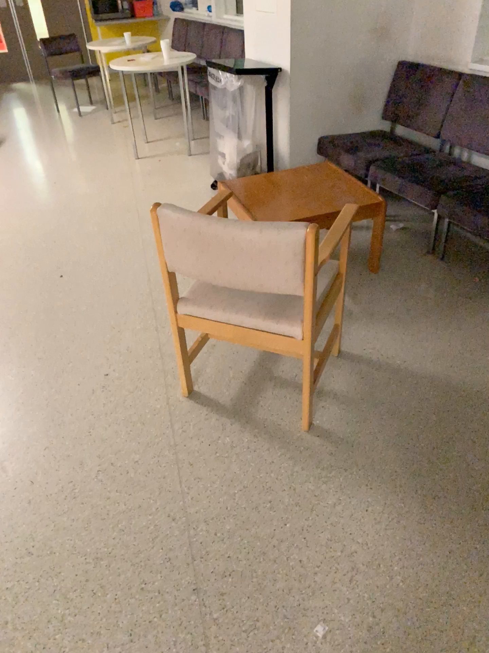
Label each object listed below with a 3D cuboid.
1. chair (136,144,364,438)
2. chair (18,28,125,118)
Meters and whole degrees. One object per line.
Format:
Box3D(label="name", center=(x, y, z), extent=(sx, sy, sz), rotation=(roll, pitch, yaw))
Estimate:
Box3D(label="chair", center=(0.057, -0.137, 1.673), extent=(0.511, 0.753, 0.514), rotation=(12, 38, 20))
Box3D(label="chair", center=(-1.793, -2.651, 5.163), extent=(0.612, 0.663, 0.946), rotation=(-27, 42, -29))
